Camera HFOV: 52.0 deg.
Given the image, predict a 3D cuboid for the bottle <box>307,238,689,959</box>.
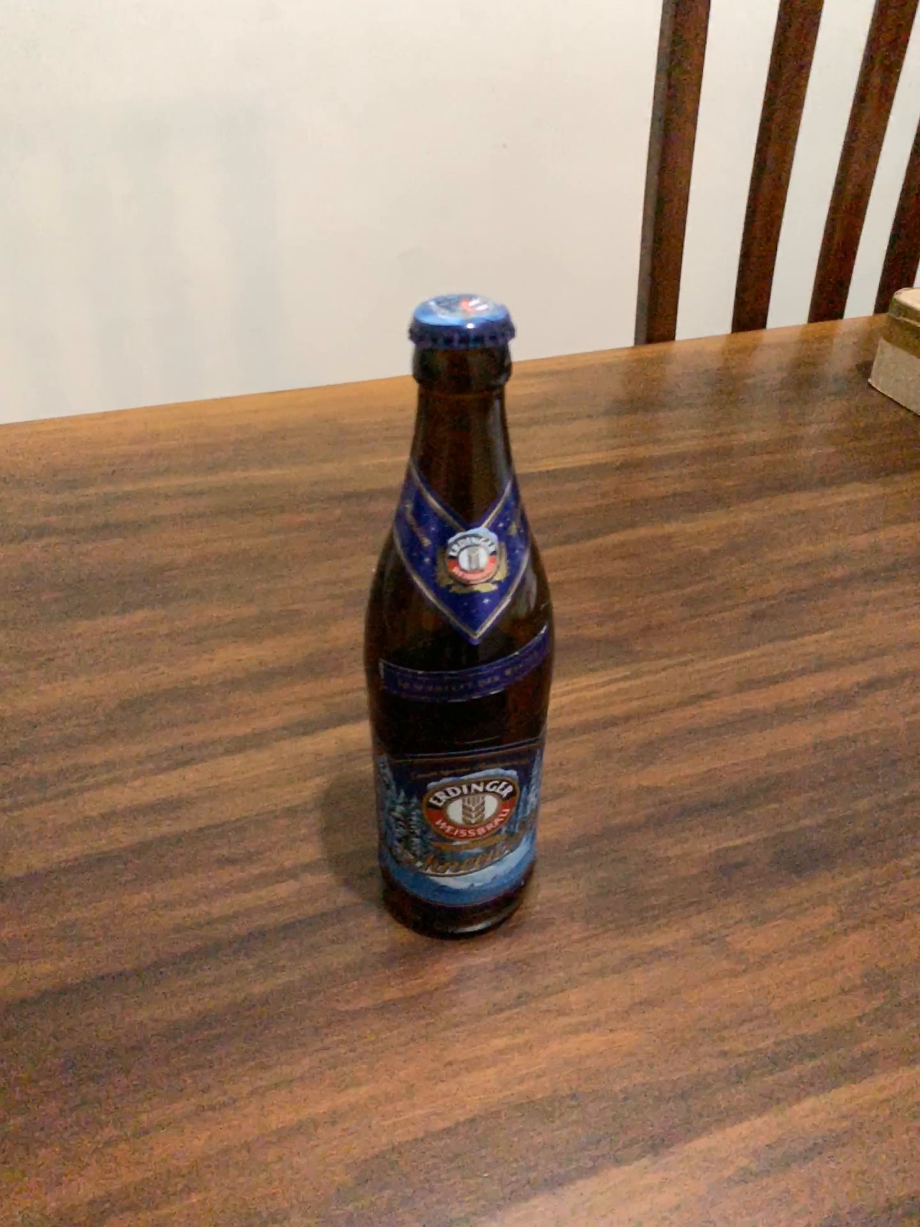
[{"bbox_3d":[0.005,0.014,0.323,0.080,0.249,0.070,-10,43,-12],"label":"bottle"}]
